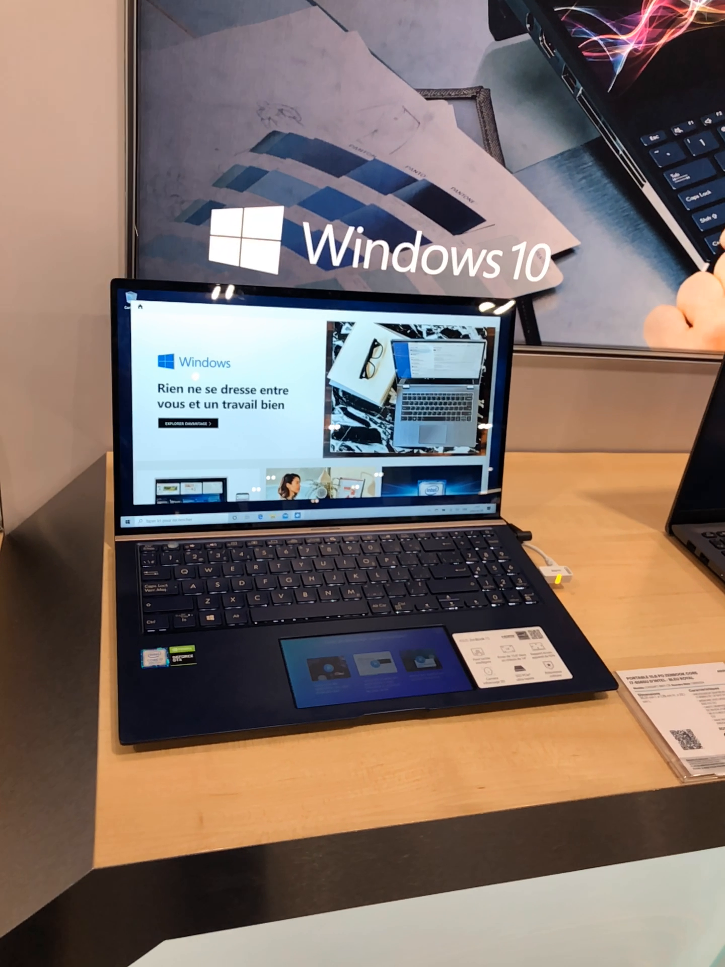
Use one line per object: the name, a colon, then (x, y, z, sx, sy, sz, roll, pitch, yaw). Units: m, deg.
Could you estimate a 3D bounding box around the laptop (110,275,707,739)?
laptop: (-0.004, -0.005, 0.583, 0.338, 0.183, 0.274, -1, 32, -18)
